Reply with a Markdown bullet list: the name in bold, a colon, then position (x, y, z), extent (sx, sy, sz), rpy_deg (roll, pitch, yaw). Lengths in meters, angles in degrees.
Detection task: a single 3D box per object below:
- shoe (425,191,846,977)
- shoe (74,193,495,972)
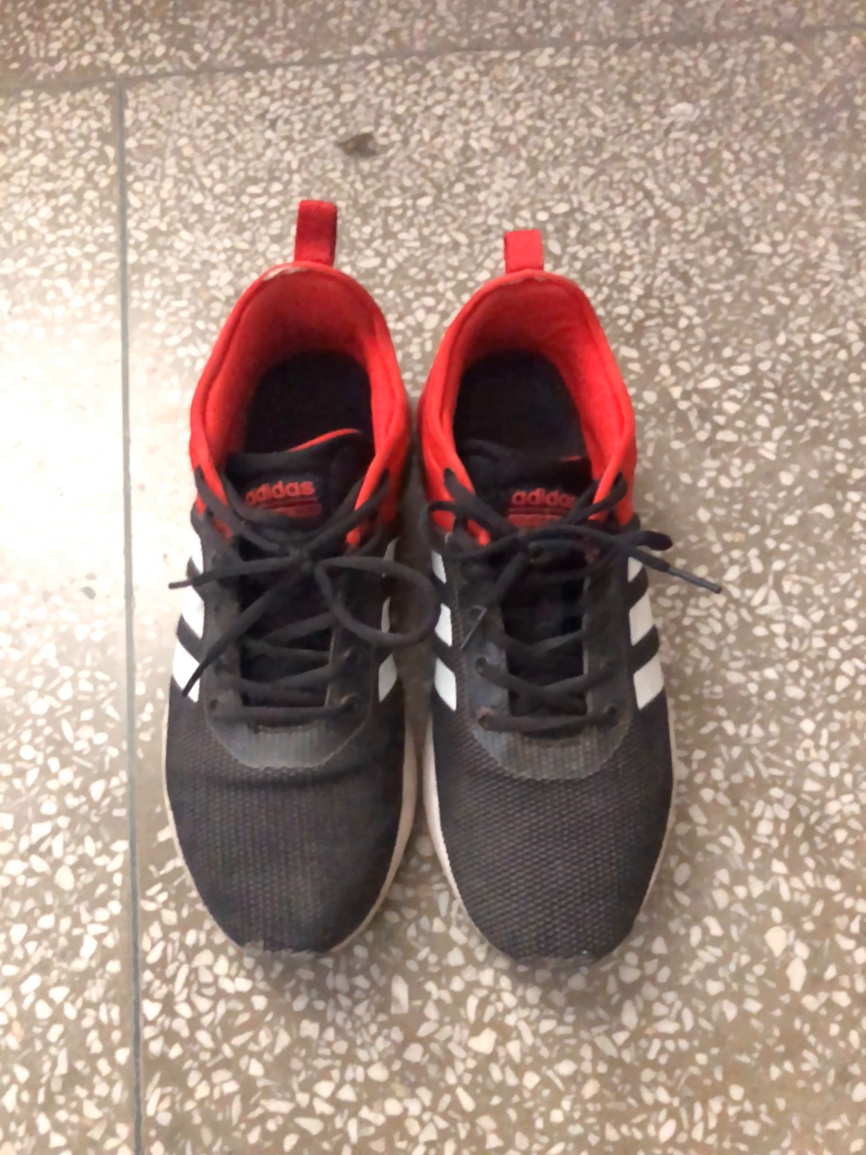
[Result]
- **shoe**: position (0.063, 0.003, 0.430), extent (0.130, 0.140, 0.320), rpy_deg (0, 67, -1)
- **shoe**: position (-0.045, 0.004, 0.424), extent (0.130, 0.140, 0.310), rpy_deg (1, 67, 0)
